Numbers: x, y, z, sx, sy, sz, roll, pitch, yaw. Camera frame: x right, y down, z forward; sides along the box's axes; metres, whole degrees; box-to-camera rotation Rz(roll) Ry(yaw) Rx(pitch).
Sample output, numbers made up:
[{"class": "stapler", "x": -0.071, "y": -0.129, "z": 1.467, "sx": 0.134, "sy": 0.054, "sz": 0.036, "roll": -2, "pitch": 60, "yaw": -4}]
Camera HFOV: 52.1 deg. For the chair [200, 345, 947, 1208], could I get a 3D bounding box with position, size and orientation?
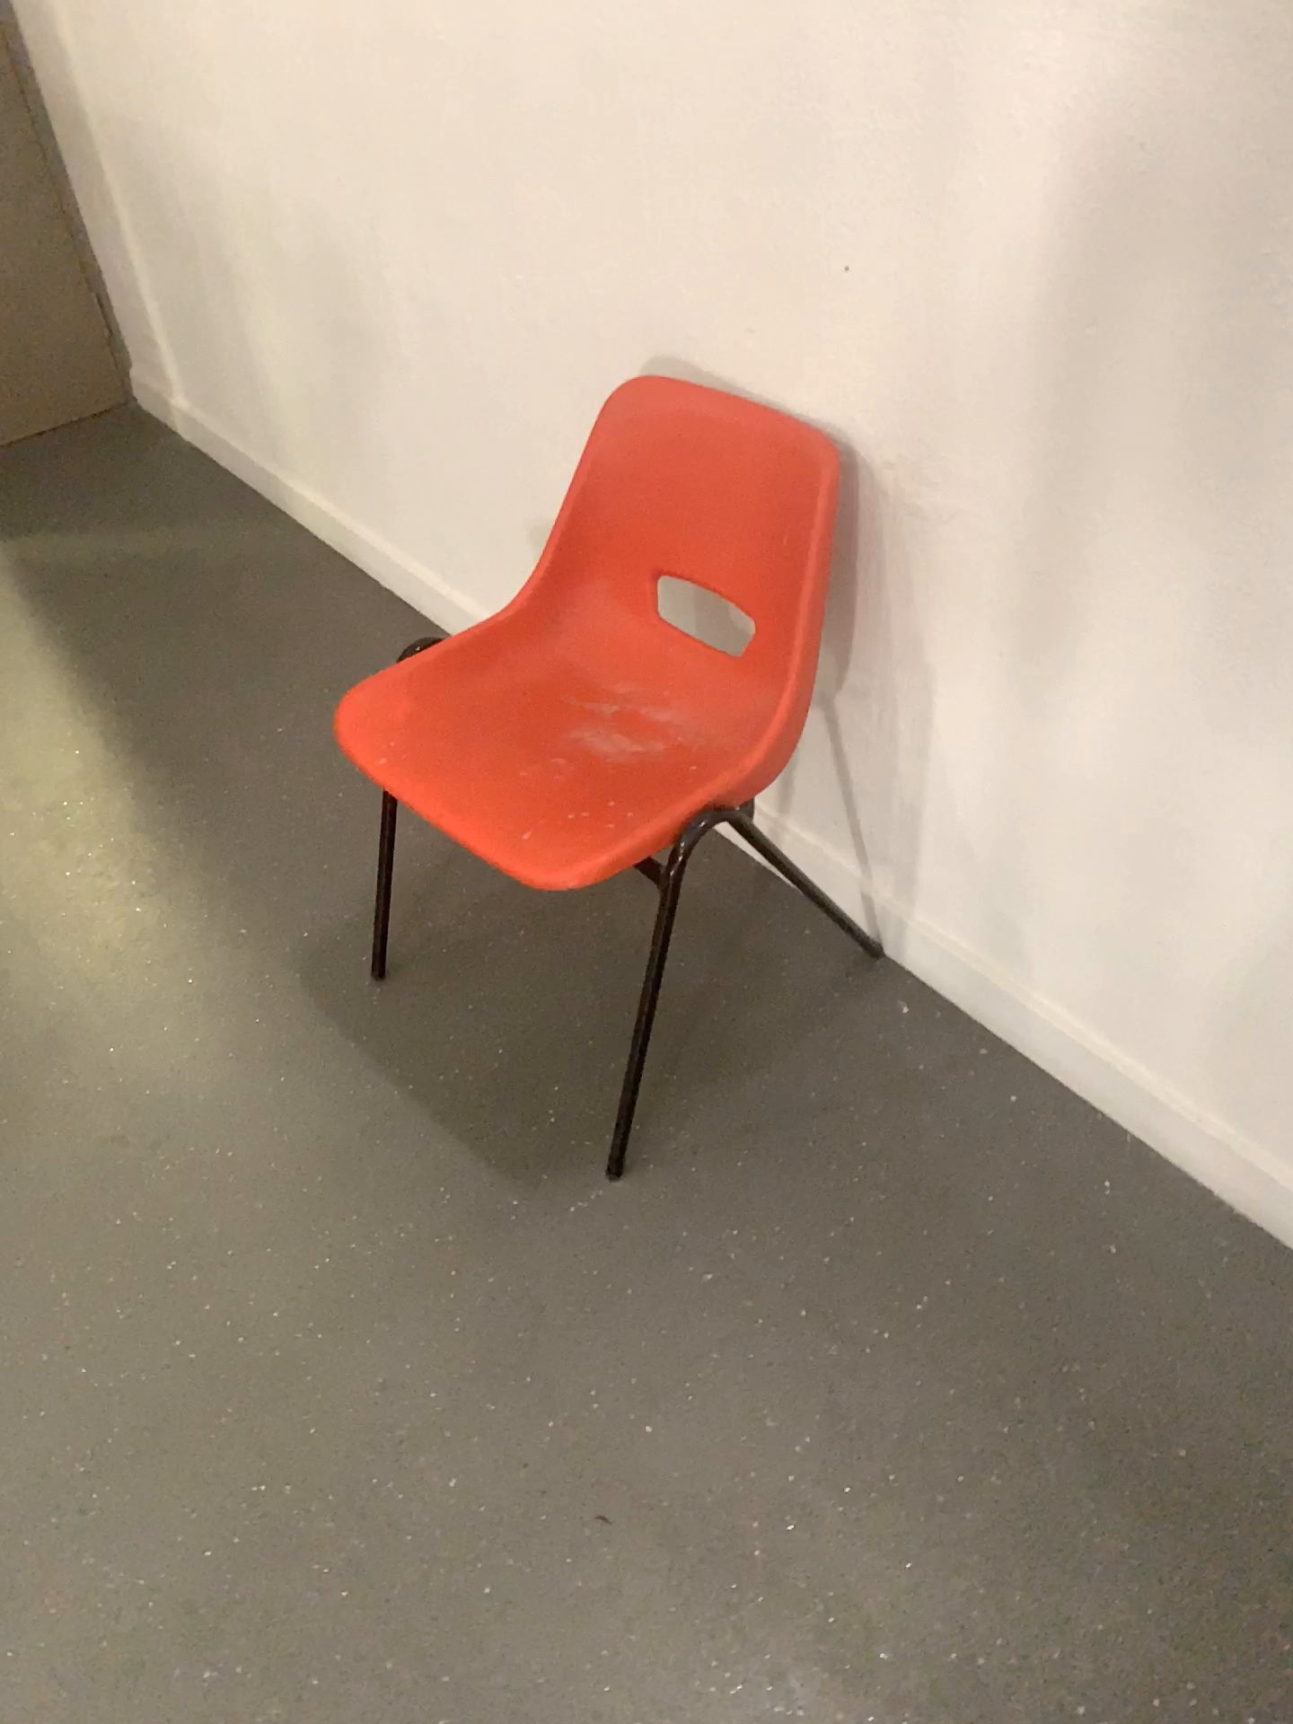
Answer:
[{"class": "chair", "x": -0.048, "y": -0.120, "z": 1.611, "sx": 0.513, "sy": 0.713, "sz": 0.593, "roll": 31, "pitch": 54, "yaw": 34}]
